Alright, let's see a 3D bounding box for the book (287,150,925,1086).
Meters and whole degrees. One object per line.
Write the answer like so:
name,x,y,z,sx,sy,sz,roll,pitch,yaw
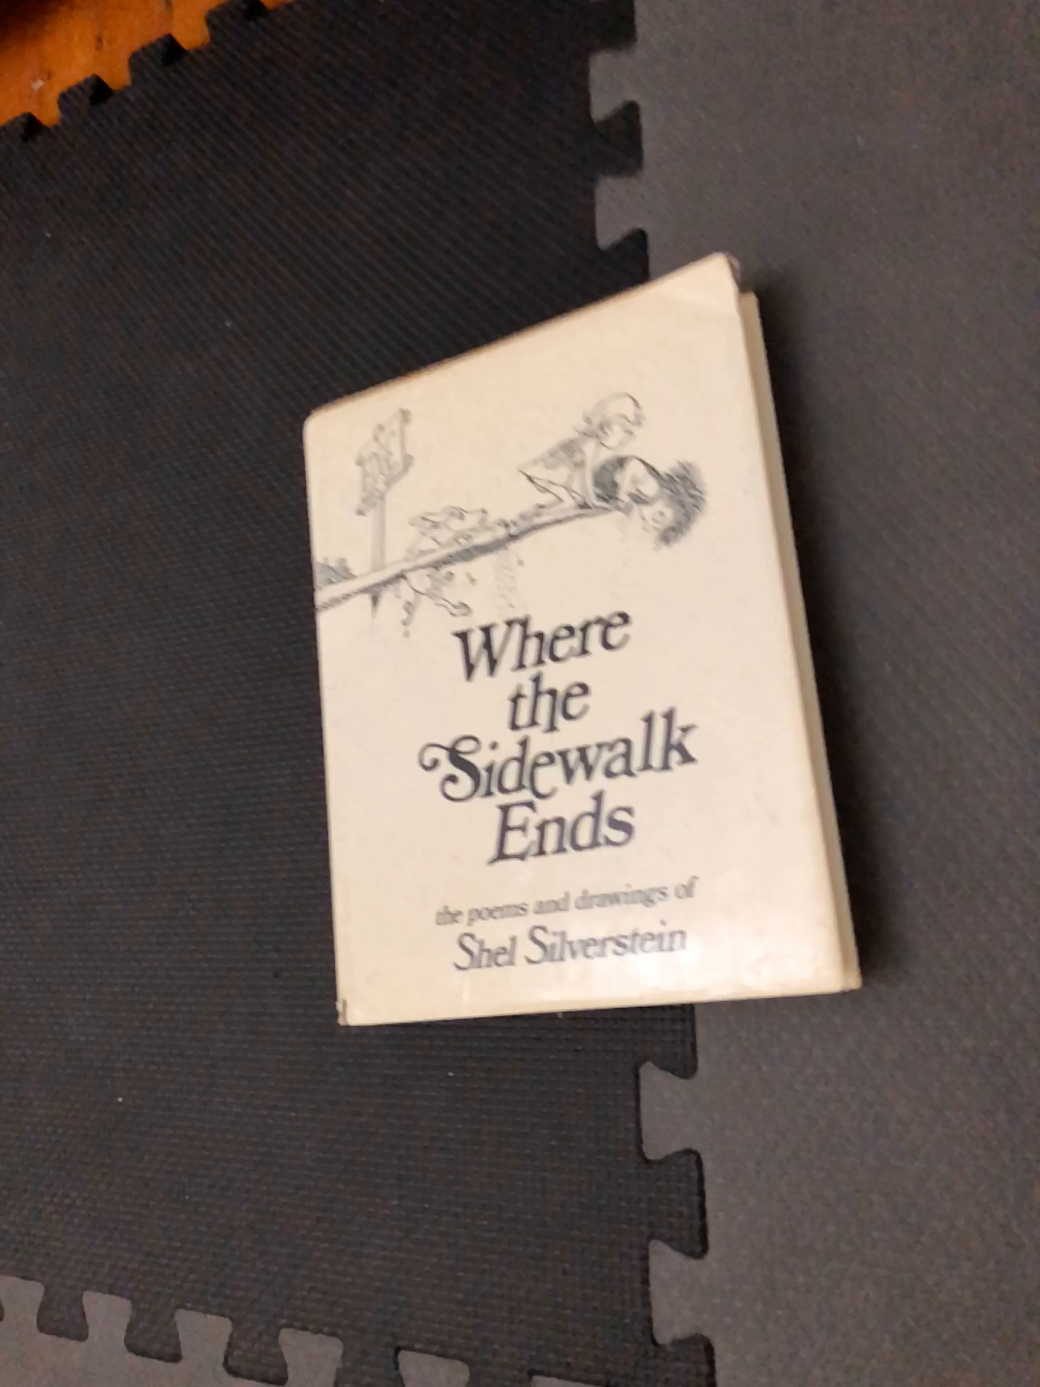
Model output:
book,0.011,-0.016,0.391,0.200,0.030,0.280,-12,75,29
